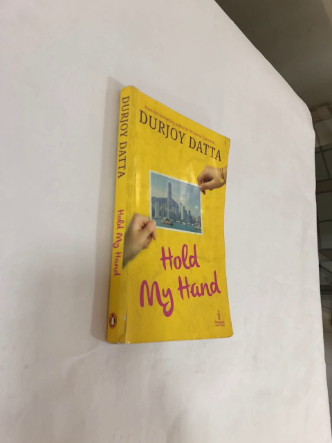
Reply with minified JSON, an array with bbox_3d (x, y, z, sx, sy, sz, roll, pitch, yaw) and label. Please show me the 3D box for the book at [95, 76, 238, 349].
[{"bbox_3d":[0.010,0.000,0.305,0.141,0.020,0.190,14,71,-46],"label":"book"}]
